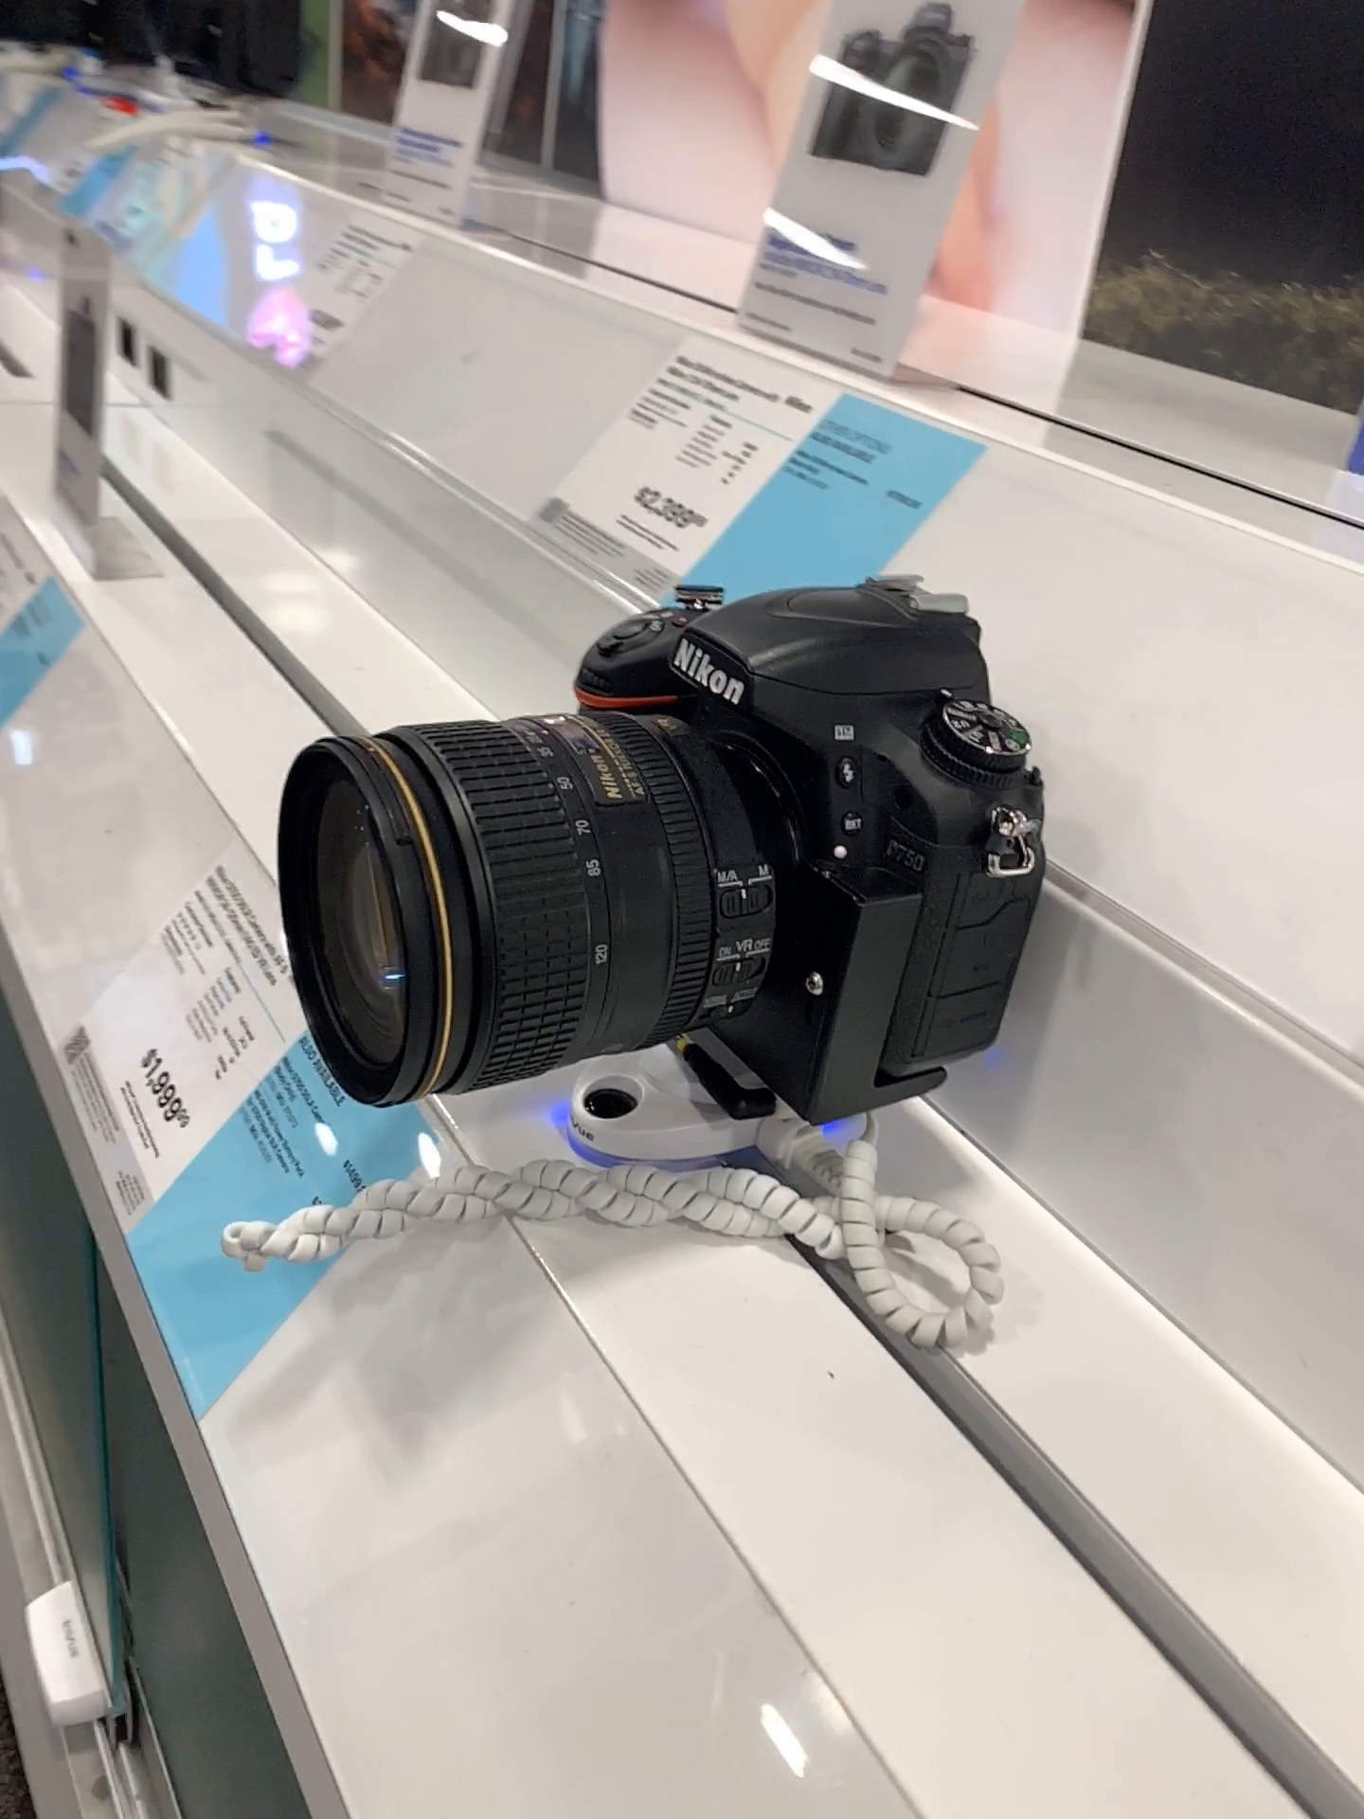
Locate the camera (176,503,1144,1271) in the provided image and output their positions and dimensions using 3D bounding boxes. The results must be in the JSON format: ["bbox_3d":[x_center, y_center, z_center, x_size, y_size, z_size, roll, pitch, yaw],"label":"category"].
[{"bbox_3d":[-0.011,-0.025,0.354,0.180,0.111,0.140,-13,36,-35],"label":"camera"}]
